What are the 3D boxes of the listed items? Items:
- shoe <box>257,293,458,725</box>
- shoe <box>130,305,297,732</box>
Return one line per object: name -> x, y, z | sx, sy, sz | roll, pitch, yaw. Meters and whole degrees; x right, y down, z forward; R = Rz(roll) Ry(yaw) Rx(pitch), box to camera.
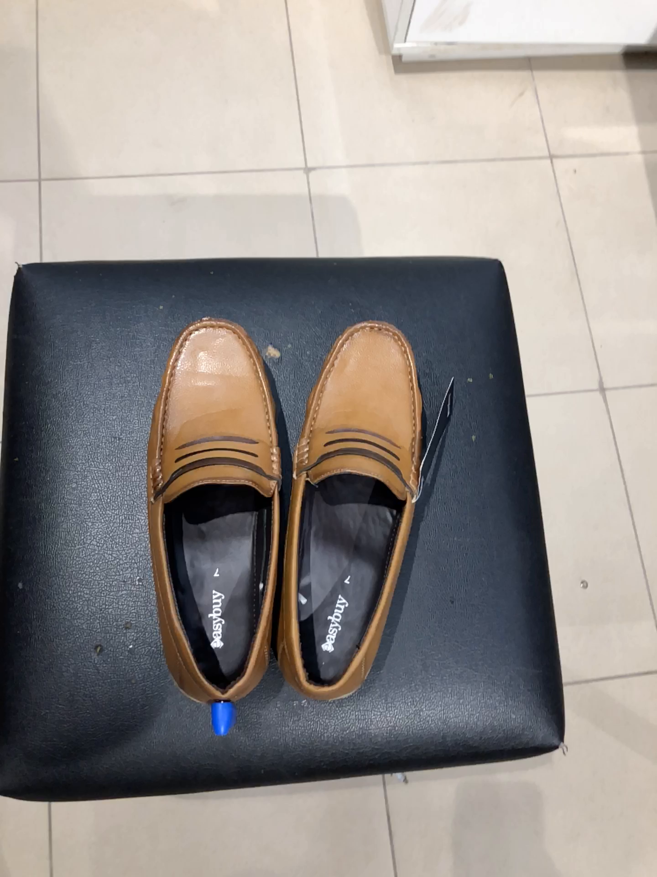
shoe -> 0.020, 0.047, 0.514 | 0.098, 0.088, 0.273 | 9, 74, -3
shoe -> -0.077, 0.051, 0.507 | 0.098, 0.088, 0.273 | -1, 74, -6
